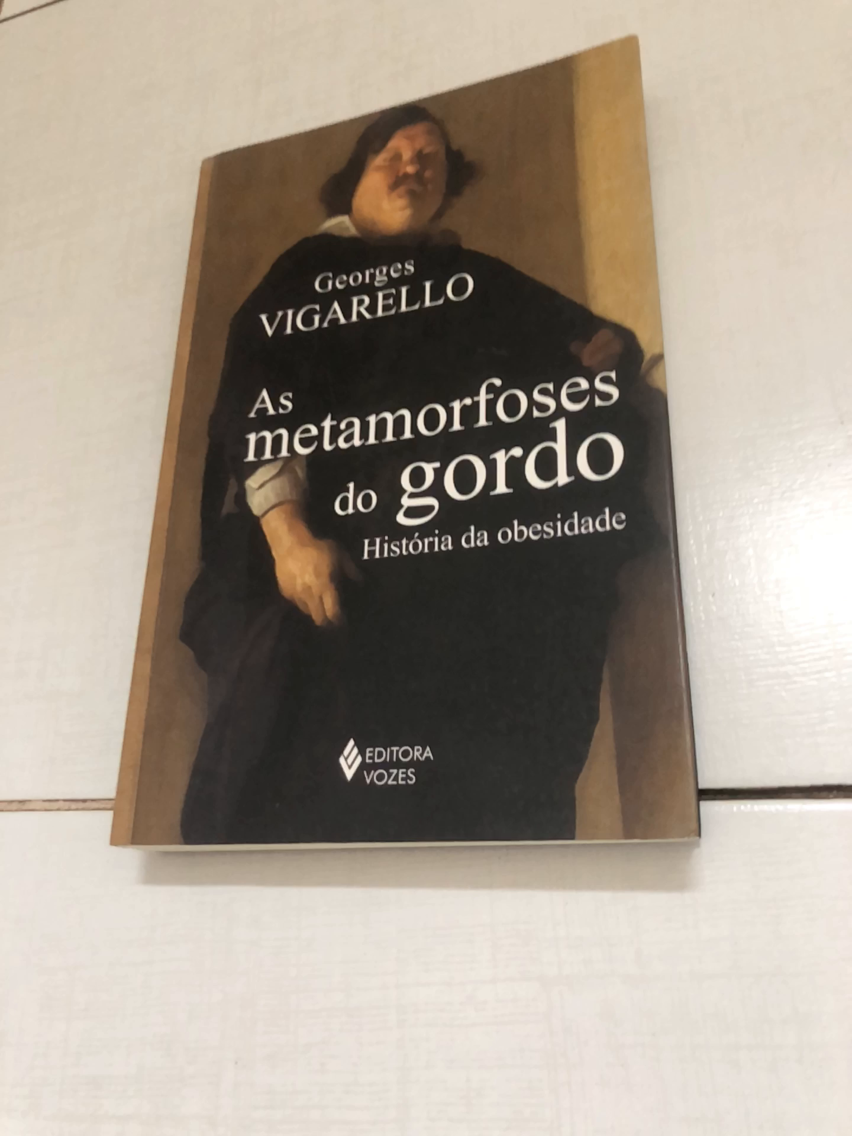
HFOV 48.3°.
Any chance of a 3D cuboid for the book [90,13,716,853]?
[{"bbox_3d":[-0.008,-0.035,0.241,0.137,0.023,0.204,-7,68,20],"label":"book"}]
